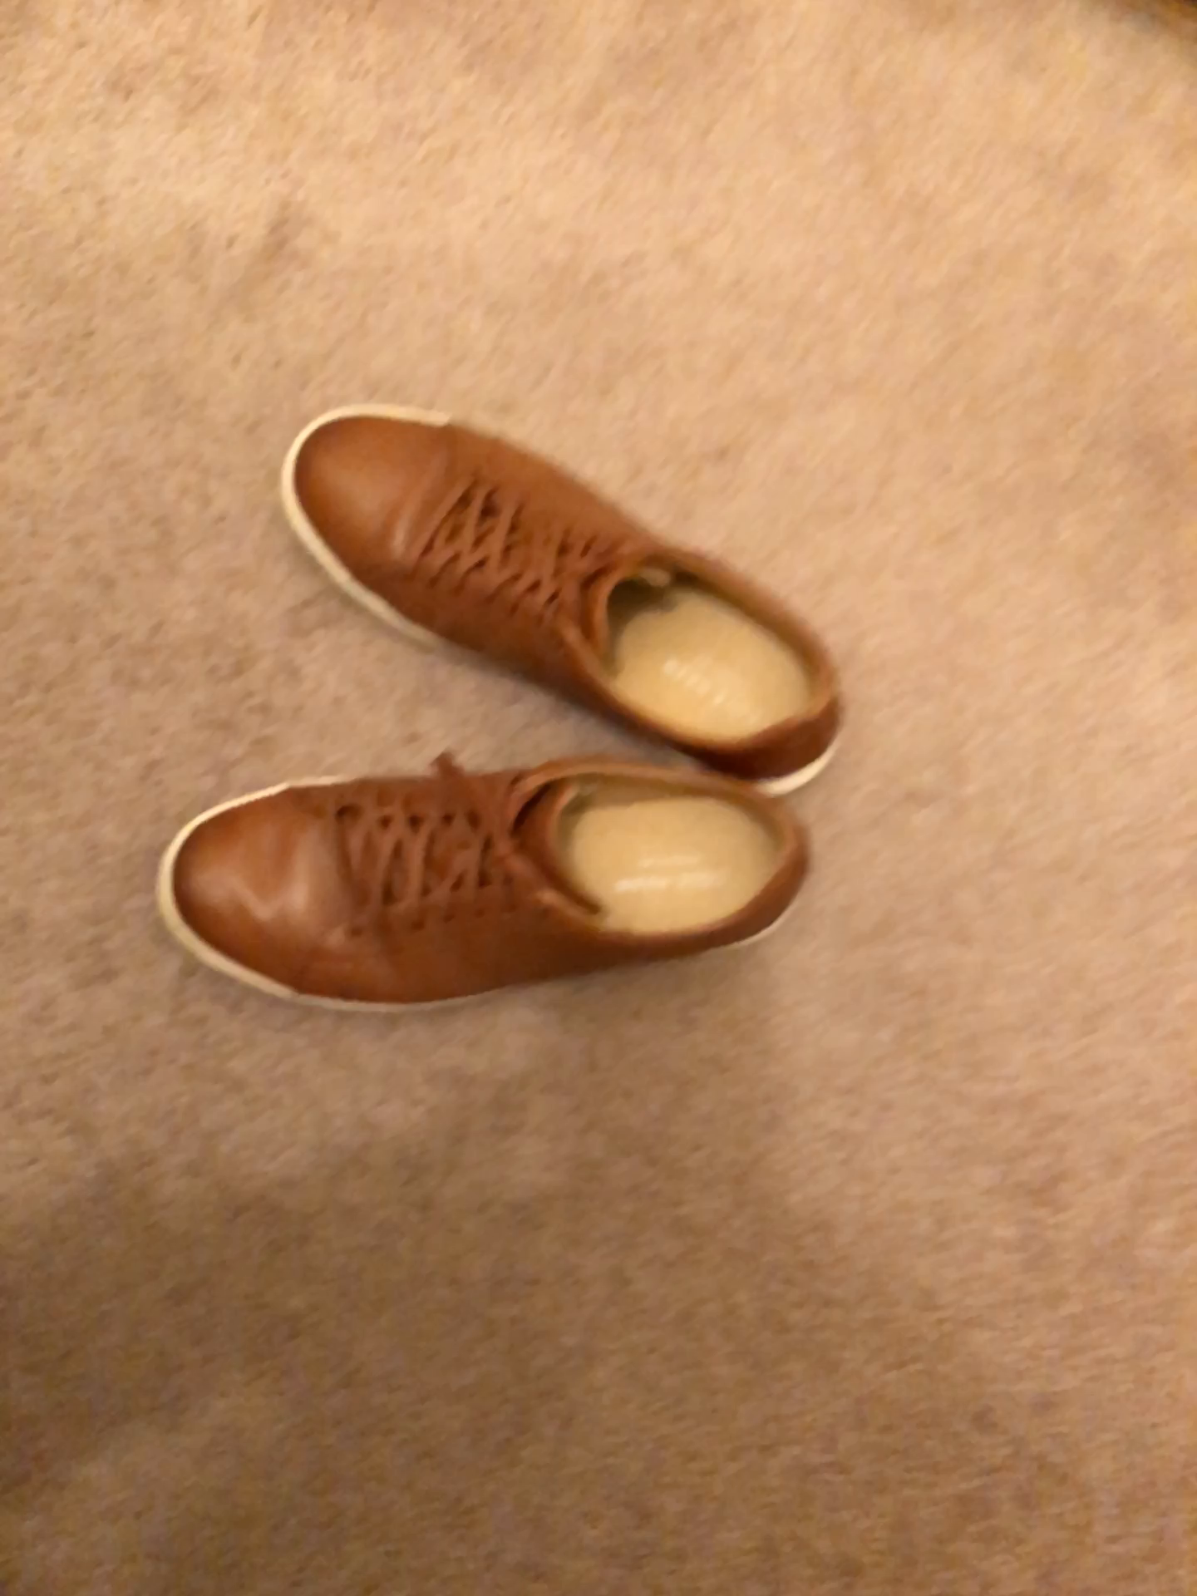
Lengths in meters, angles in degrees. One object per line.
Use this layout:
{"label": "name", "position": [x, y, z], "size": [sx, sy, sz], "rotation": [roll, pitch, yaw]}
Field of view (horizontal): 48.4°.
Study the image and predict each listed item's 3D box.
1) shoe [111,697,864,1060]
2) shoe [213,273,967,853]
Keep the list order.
{"label": "shoe", "position": [-0.046, 0.038, 0.567], "size": [0.285, 0.100, 0.117], "rotation": [-5, 80, -2]}
{"label": "shoe", "position": [-0.004, -0.098, 0.593], "size": [0.285, 0.103, 0.117], "rotation": [26, 80, 3]}
